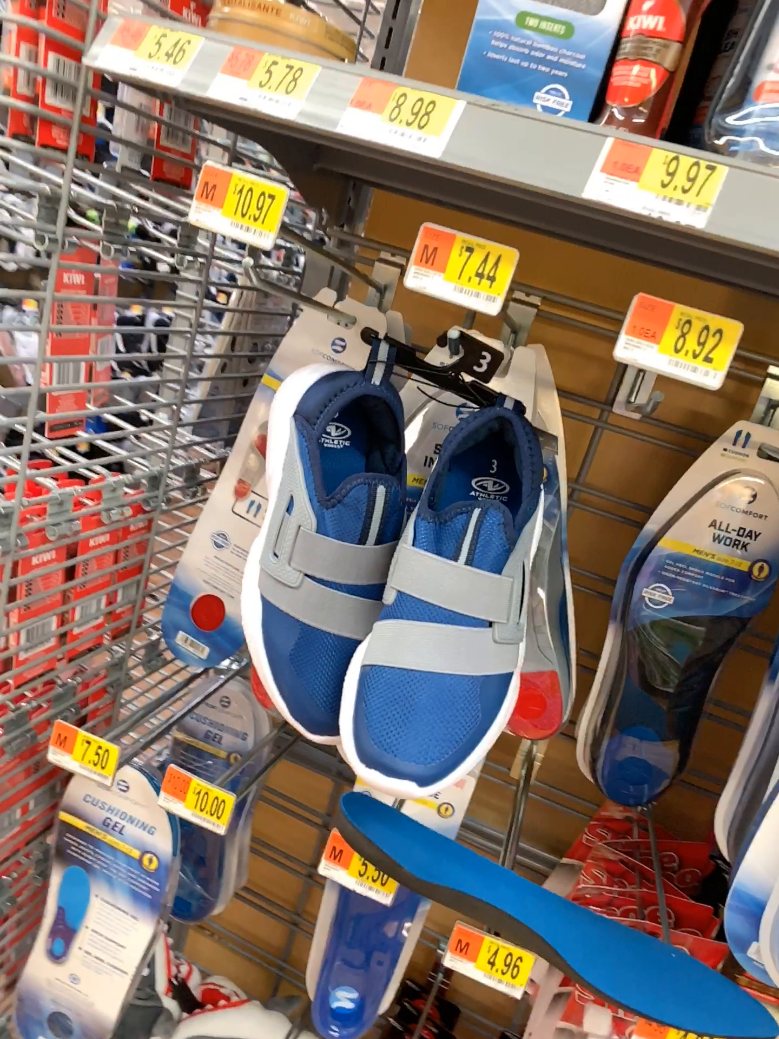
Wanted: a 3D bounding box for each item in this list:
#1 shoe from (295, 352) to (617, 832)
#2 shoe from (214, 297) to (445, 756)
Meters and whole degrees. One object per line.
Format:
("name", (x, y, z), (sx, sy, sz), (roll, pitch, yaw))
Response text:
("shoe", (0.041, 0.040, 0.452), (0.101, 0.234, 0.098), (18, -22, 6))
("shoe", (-0.038, 0.009, 0.486), (0.095, 0.246, 0.098), (8, -10, -21))
